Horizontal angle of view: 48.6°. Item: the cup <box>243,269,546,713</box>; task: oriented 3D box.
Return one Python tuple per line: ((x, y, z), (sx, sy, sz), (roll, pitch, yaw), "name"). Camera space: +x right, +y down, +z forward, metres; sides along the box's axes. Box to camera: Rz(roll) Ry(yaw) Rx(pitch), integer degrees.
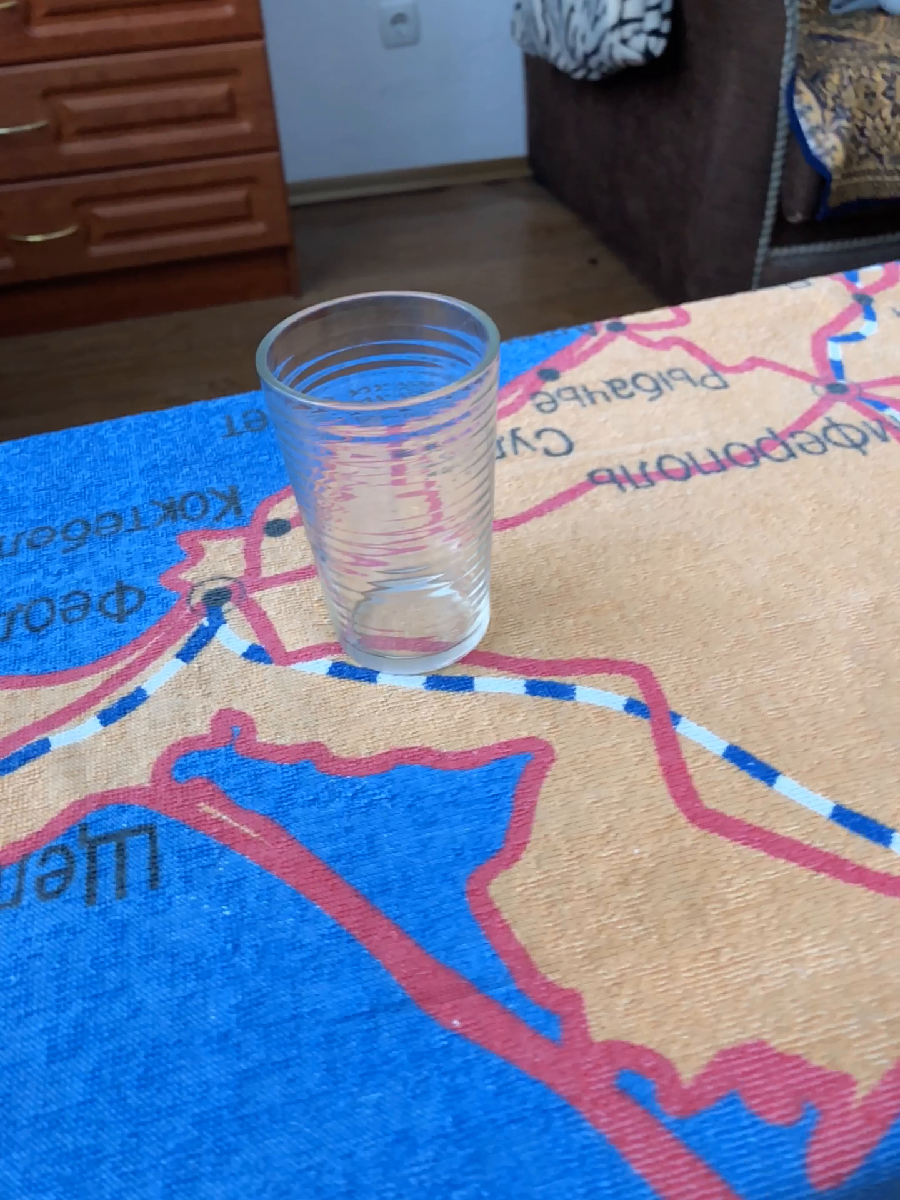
((-0.016, -0.032, 0.298), (0.068, 0.099, 0.070), (-2, 41, 1), "cup")
